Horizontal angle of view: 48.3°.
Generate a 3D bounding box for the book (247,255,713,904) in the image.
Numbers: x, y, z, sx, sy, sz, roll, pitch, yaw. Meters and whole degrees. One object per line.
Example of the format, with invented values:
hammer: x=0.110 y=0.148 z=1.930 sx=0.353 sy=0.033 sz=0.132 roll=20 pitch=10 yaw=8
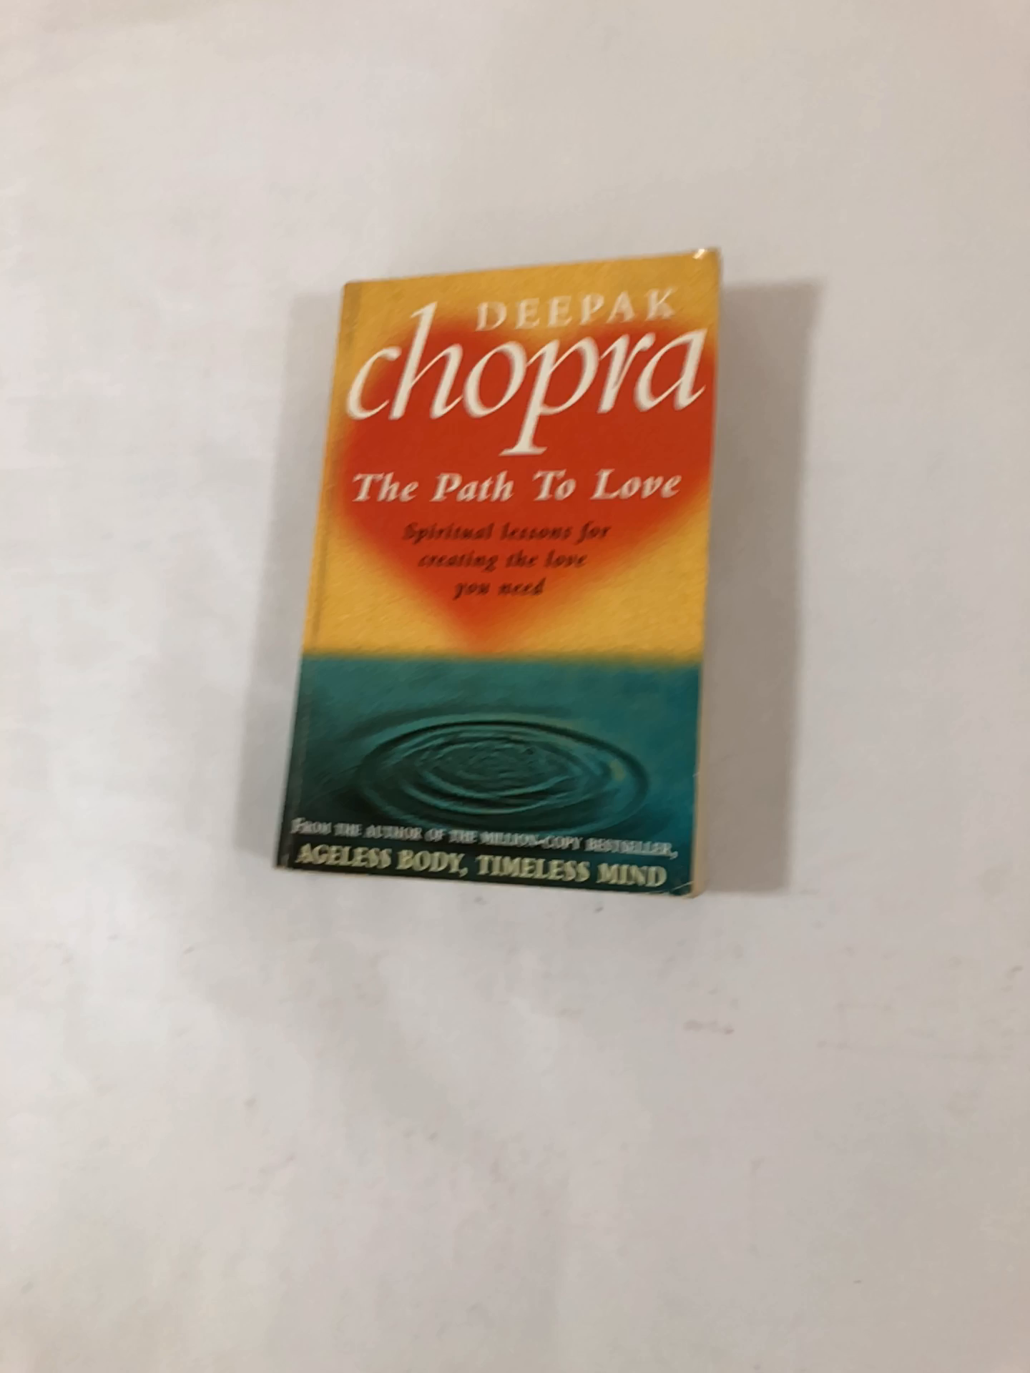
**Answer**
book: x=-0.006 y=-0.036 z=0.374 sx=0.130 sy=0.040 sz=0.200 roll=1 pitch=76 yaw=12
